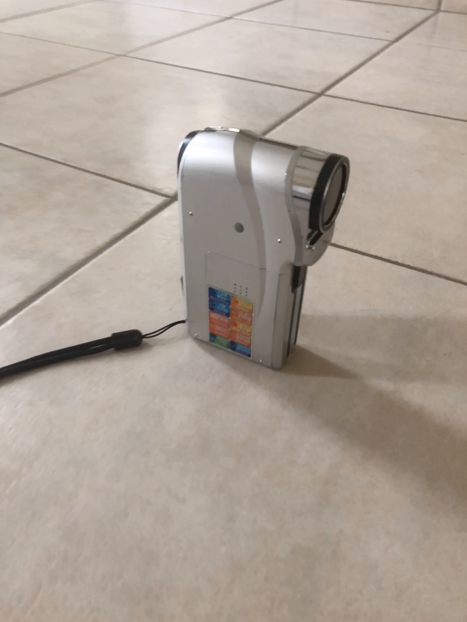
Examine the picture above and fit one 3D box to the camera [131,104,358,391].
[{"bbox_3d":[0.004,-0.027,0.239,0.080,0.109,0.040,18,43,20],"label":"camera"}]
